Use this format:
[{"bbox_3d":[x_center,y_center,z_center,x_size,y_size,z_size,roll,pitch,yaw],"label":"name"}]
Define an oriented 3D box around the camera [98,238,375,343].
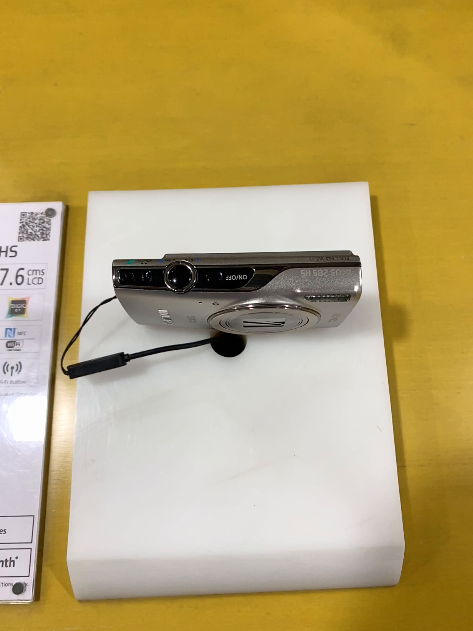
[{"bbox_3d":[0.000,-0.008,0.205,0.100,0.050,0.030,0,75,1],"label":"camera"}]
